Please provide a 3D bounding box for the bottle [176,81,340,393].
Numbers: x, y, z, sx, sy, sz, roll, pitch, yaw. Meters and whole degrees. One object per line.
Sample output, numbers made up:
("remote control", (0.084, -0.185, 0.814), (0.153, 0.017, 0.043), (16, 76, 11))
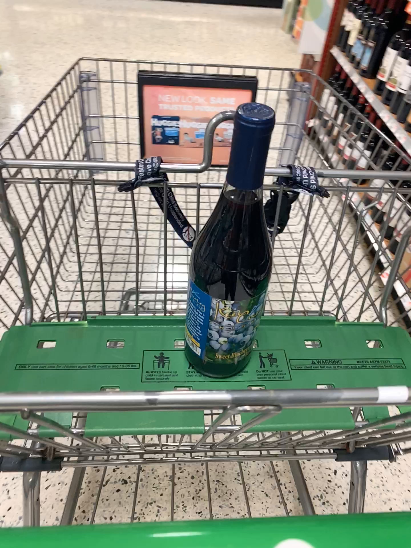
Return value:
("bottle", (0.026, -0.011, 0.384), (0.080, 0.286, 0.075), (3, 44, -3))
